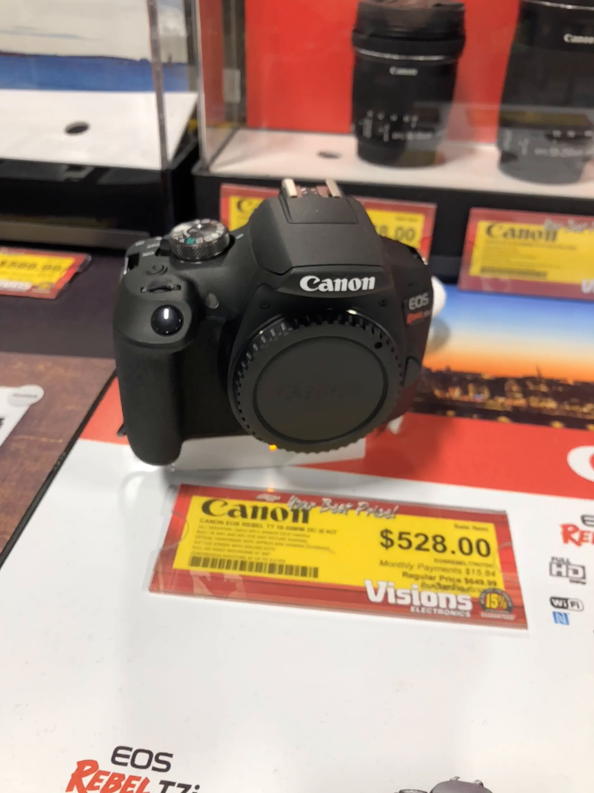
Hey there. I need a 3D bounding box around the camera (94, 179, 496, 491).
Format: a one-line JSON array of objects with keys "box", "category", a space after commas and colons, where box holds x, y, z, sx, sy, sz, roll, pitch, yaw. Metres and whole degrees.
[{"box": [-0.006, -0.029, 0.271, 0.130, 0.089, 0.081, -4, 37, -9], "category": "camera"}]
